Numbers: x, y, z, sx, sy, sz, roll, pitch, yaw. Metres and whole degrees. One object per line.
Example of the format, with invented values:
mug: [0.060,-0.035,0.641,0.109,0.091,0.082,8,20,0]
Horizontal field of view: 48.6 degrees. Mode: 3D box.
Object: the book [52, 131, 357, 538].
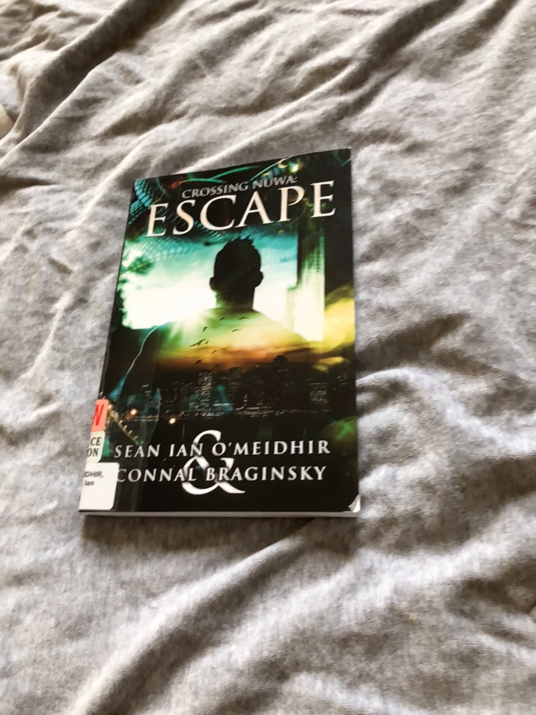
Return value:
book: [-0.029,-0.022,0.364,0.160,0.030,0.250,-3,65,13]
